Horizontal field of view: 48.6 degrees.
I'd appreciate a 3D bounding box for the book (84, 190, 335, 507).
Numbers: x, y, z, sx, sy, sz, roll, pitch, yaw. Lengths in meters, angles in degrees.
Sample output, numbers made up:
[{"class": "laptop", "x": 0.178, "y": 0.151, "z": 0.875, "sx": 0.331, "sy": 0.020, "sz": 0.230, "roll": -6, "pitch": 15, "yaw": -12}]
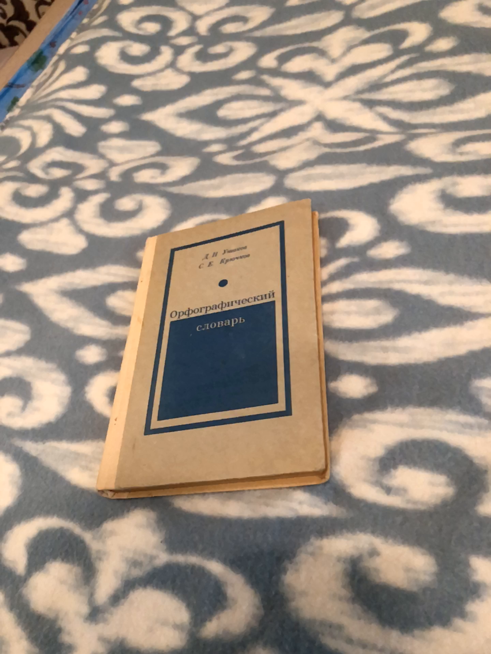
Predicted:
[{"class": "book", "x": -0.018, "y": 0.004, "z": 0.355, "sx": 0.137, "sy": 0.022, "sz": 0.211, "roll": -10, "pitch": 51, "yaw": 17}]
